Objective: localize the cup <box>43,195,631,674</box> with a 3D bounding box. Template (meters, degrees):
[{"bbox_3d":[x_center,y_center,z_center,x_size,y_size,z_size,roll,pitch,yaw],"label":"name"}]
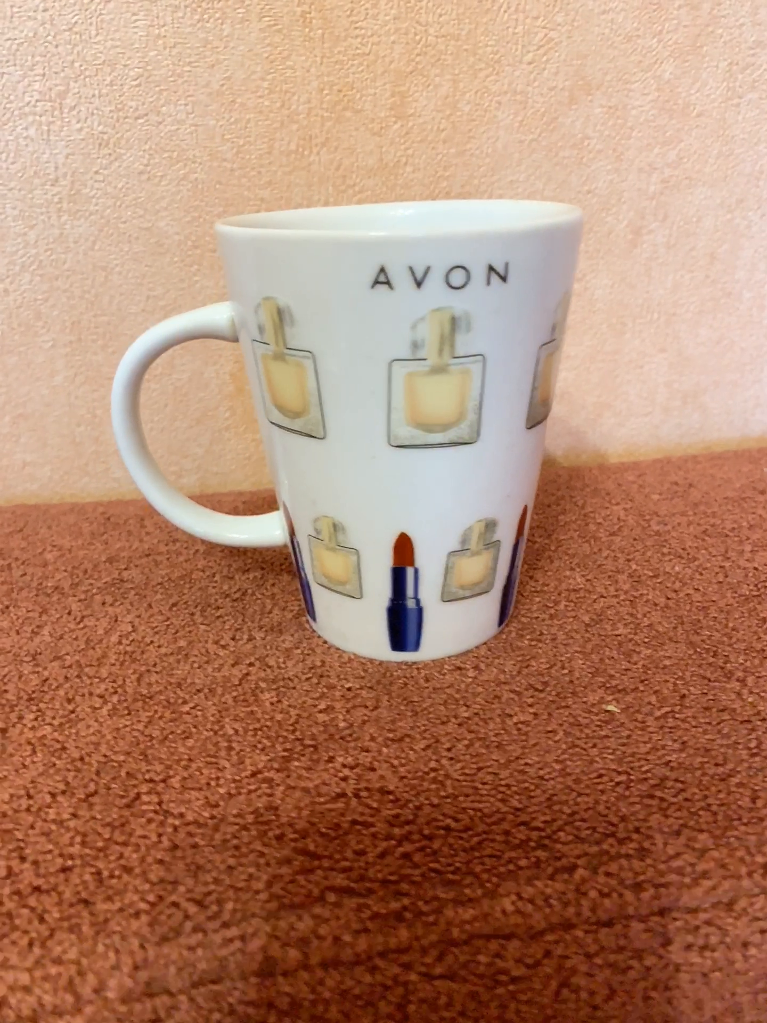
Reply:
[{"bbox_3d":[-0.007,-0.021,0.192,0.103,0.093,0.071,-1,26,2],"label":"cup"}]
